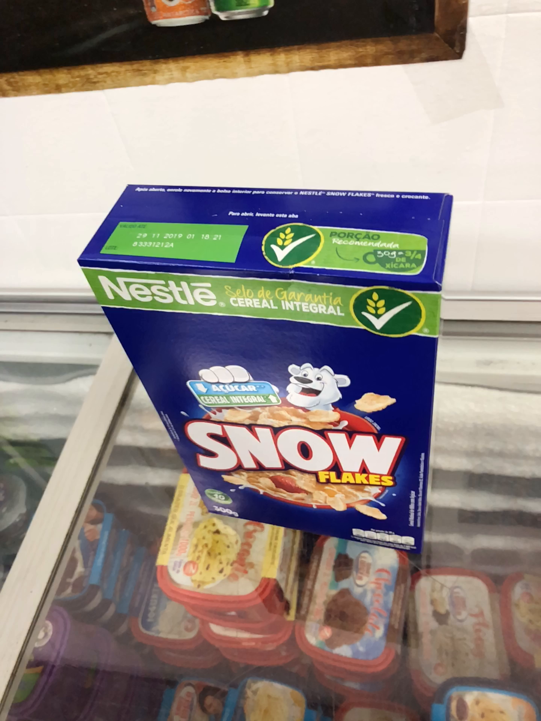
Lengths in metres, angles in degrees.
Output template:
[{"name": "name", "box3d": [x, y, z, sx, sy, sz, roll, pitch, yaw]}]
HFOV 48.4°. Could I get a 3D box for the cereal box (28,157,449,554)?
[{"name": "cereal box", "box3d": [0.006, 0.015, 0.355, 0.170, 0.258, 0.070, 6, 53, 16]}]
